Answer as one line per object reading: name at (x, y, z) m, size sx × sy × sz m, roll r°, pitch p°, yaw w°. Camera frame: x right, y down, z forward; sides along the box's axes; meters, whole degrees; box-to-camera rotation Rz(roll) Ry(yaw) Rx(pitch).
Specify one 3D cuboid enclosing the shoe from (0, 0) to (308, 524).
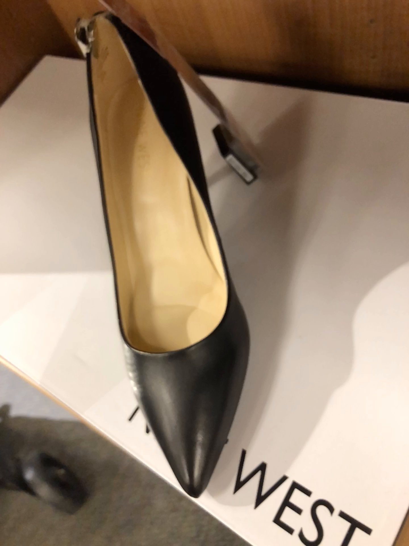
shoe at (-0.021, -0.010, 0.262) m, size 0.096 × 0.160 × 0.255 m, roll -12°, pitch 57°, yaw 16°
